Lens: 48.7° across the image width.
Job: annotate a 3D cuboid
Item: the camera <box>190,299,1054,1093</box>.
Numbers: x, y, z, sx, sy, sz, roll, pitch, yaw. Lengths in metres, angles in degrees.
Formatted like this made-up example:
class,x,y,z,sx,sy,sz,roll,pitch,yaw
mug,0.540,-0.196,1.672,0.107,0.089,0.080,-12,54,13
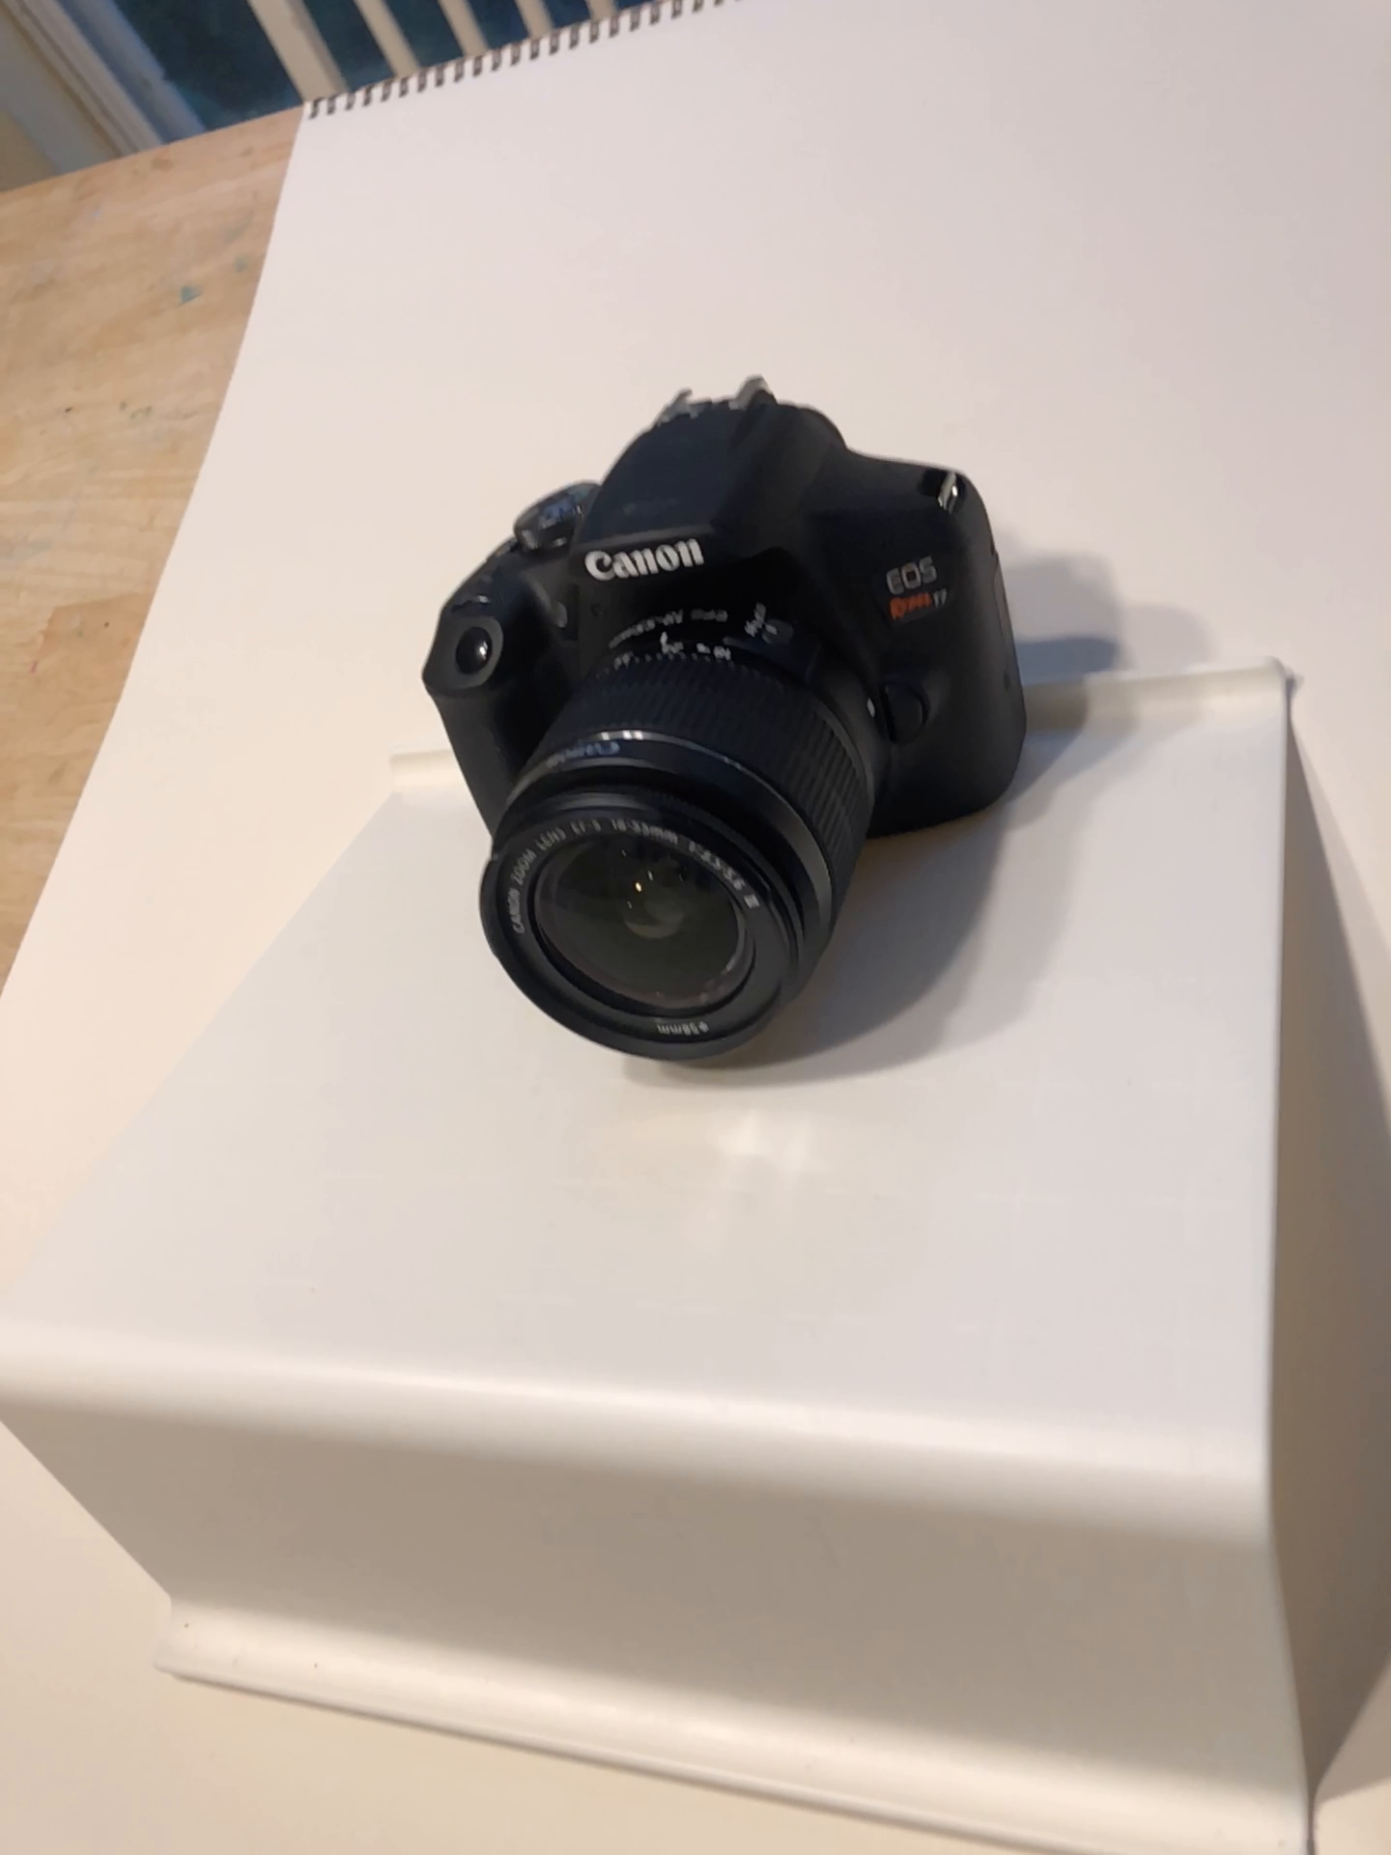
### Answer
class,x,y,z,sx,sy,sz,roll,pitch,yaw
camera,0.000,-0.051,0.336,0.125,0.104,0.140,-2,36,23
